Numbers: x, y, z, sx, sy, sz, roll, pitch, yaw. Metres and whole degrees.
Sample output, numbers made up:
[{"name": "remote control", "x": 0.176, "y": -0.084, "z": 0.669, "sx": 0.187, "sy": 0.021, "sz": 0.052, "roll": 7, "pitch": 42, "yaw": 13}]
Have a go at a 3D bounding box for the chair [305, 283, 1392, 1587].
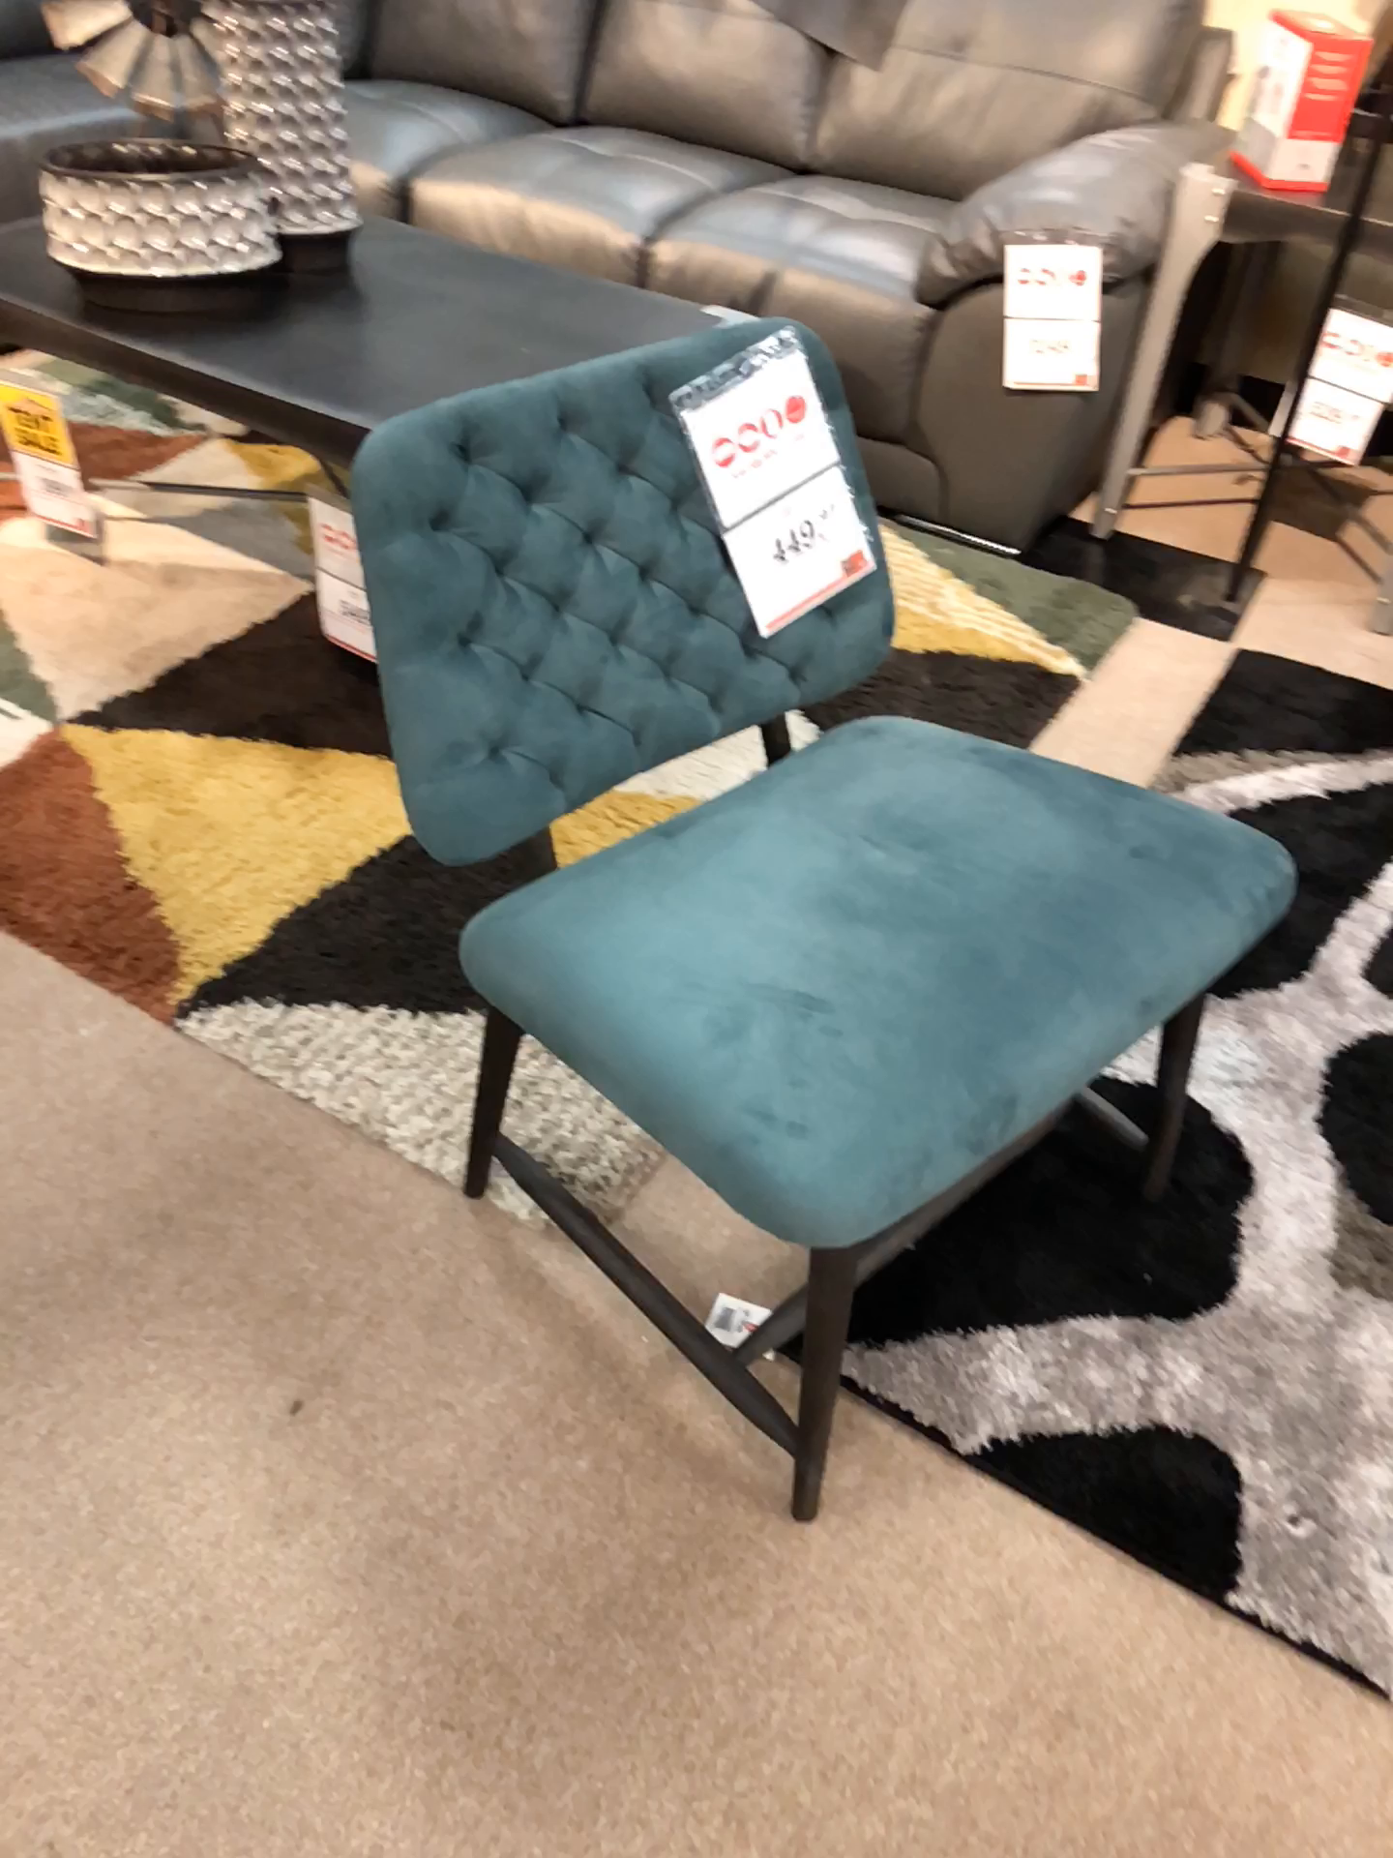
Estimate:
[{"name": "chair", "x": 0.121, "y": -0.032, "z": 1.292, "sx": 0.641, "sy": 0.765, "sz": 0.532, "roll": -29, "pitch": 50, "yaw": -36}]
